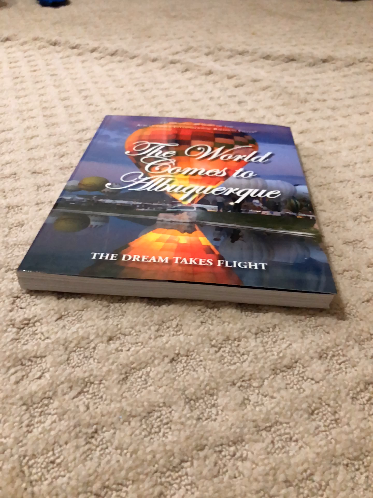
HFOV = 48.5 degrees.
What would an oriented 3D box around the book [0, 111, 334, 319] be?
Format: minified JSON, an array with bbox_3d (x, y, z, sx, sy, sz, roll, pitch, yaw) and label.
[{"bbox_3d":[-0.004,-0.054,0.358,0.204,0.023,0.259,4,39,2],"label":"book"}]
